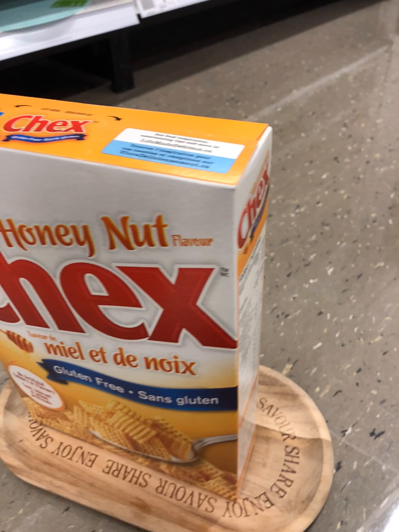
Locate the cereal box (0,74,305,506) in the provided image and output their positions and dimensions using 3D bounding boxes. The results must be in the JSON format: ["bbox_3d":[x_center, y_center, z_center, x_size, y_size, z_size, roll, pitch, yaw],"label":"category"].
[{"bbox_3d":[-0.055,0.033,0.300,0.210,0.279,0.060,13,44,19],"label":"cereal box"}]
